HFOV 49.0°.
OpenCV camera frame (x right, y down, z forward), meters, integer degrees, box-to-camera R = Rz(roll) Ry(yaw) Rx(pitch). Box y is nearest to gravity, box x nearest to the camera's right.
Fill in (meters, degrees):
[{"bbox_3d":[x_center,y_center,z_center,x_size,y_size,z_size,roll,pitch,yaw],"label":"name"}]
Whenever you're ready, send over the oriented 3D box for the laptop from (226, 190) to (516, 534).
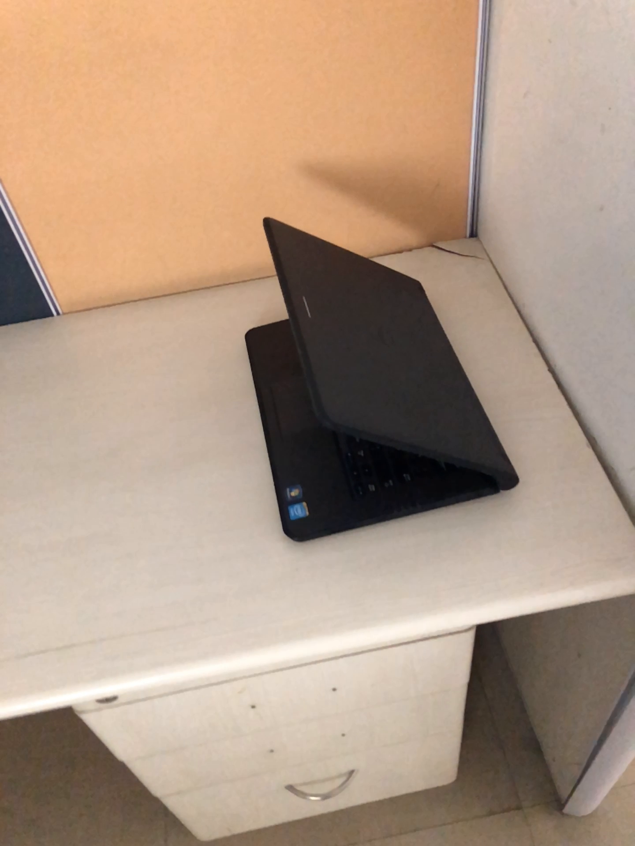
[{"bbox_3d":[0.040,-0.080,0.743,0.215,0.154,0.319,-12,47,-3],"label":"laptop"}]
